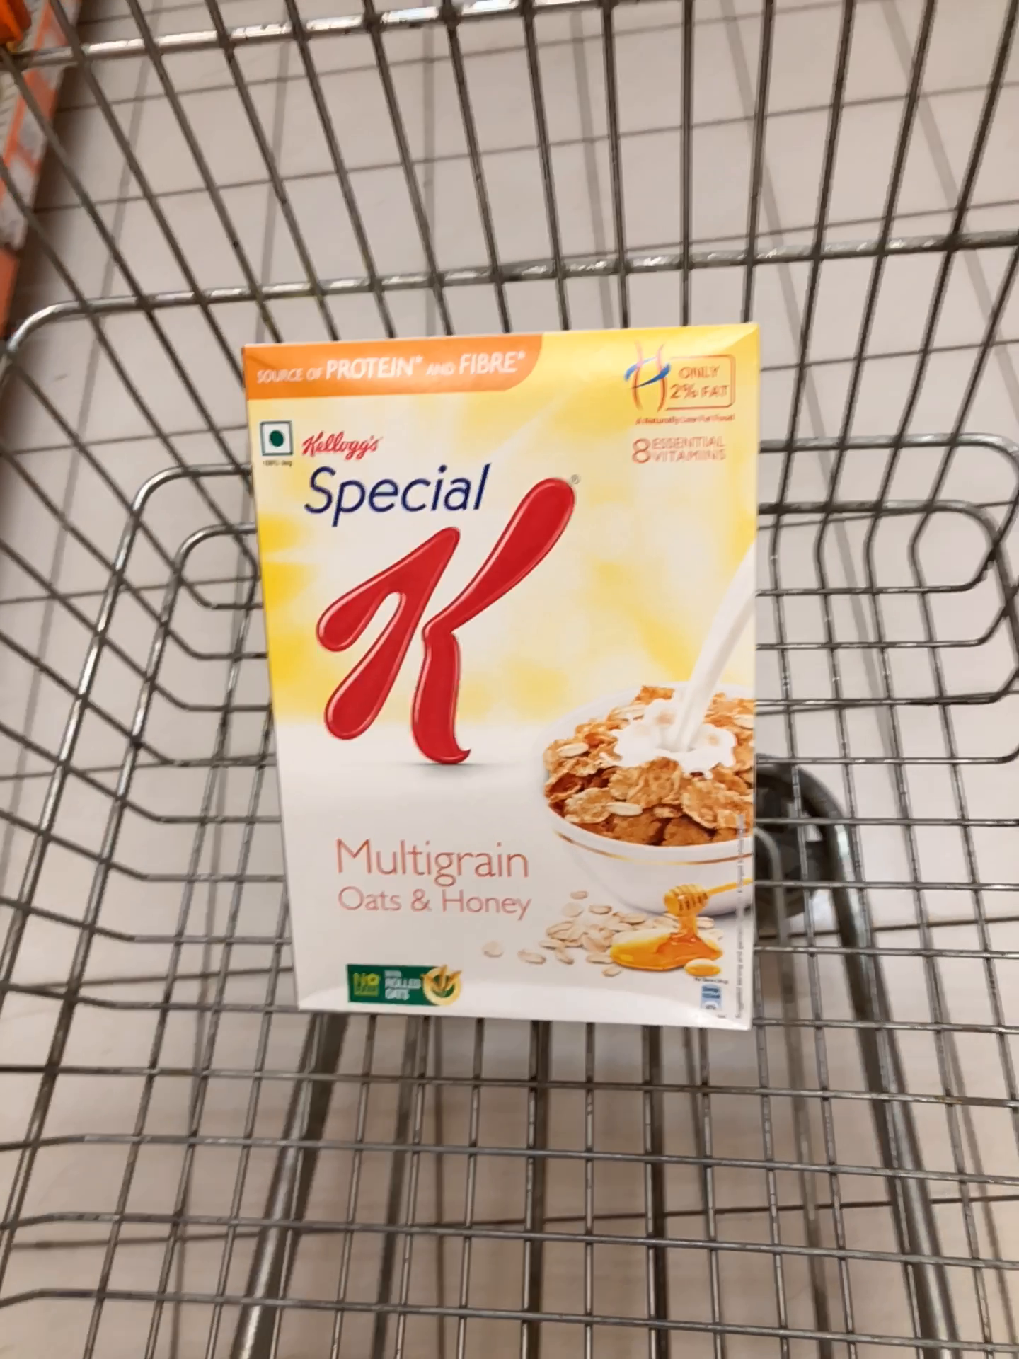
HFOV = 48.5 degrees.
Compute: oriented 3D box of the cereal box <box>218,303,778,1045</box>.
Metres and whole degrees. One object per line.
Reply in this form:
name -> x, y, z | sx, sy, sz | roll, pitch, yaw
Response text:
cereal box -> 0.002, -0.003, 0.455 | 0.190, 0.090, 0.269 | 0, 104, 7
